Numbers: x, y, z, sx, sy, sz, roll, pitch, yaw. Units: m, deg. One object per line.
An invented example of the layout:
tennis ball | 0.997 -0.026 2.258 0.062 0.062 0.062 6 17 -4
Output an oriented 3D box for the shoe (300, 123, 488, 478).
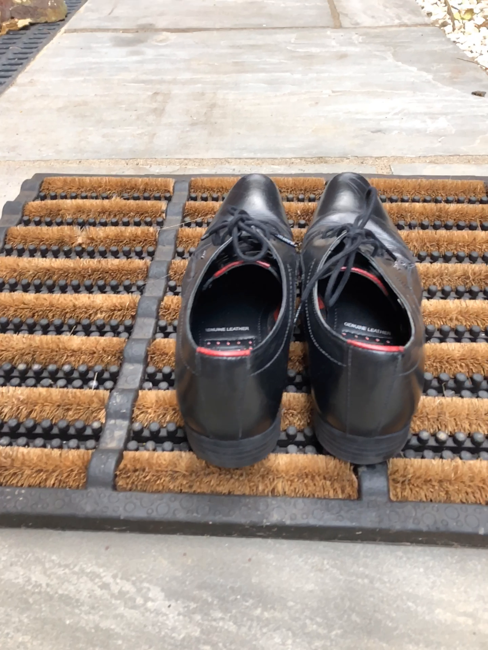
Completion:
shoe | 0.098 -0.045 0.419 0.100 0.099 0.302 3 44 4

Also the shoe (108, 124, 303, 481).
shoe | -0.008 -0.043 0.418 0.100 0.099 0.302 3 44 4
